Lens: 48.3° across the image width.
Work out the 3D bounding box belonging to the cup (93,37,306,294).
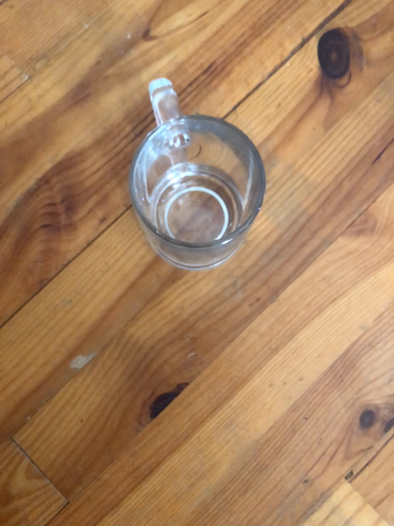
[{"bbox_3d":[-0.001,-0.055,0.308,0.091,0.111,0.128,-16,85,-4],"label":"cup"}]
